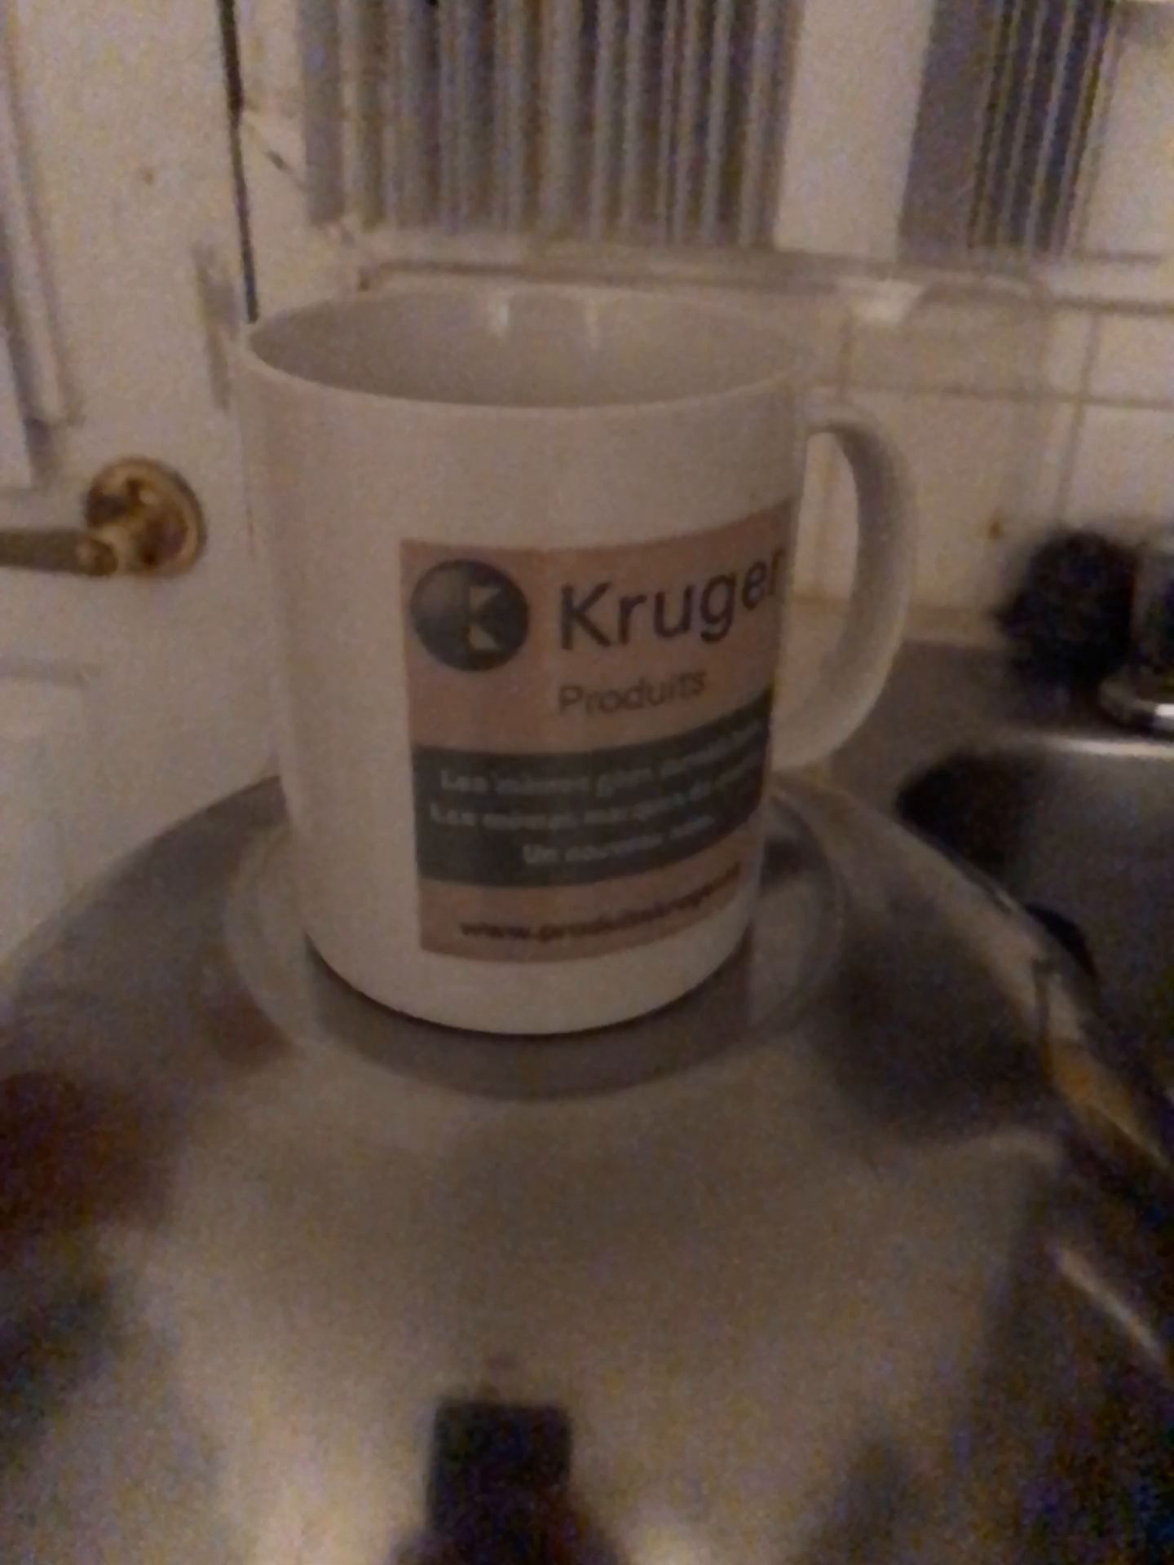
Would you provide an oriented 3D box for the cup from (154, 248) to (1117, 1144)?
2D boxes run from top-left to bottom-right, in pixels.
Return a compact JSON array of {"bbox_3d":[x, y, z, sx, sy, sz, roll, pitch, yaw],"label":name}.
[{"bbox_3d":[0.000,-0.025,0.228,0.120,0.109,0.091,-11,33,-21],"label":"cup"}]
